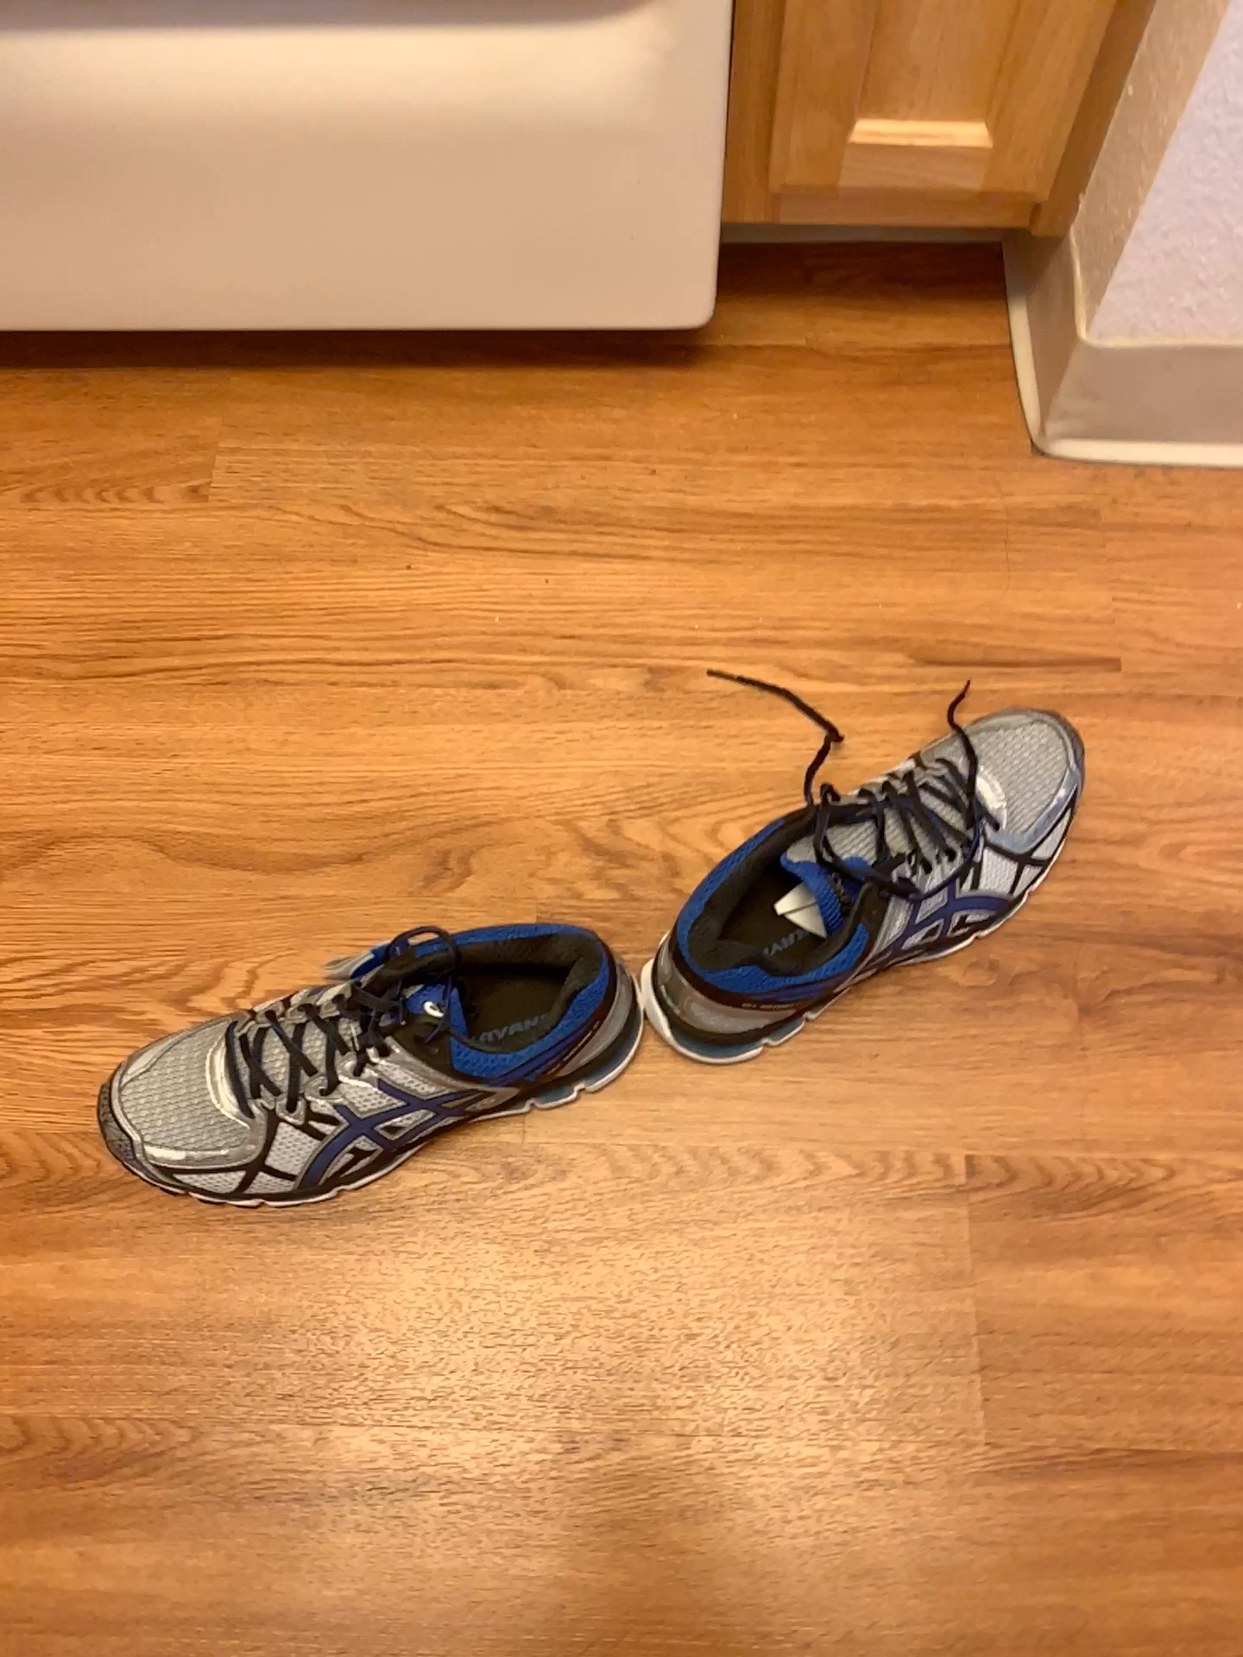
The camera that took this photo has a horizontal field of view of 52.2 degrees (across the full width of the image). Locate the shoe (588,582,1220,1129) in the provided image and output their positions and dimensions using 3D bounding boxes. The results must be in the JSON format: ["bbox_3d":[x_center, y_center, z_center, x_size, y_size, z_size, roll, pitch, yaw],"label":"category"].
[{"bbox_3d":[0.153,0.014,0.719,0.330,0.110,0.120,-33,70,-12],"label":"shoe"}]

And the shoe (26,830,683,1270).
[{"bbox_3d":[-0.130,0.120,0.670,0.300,0.120,0.120,-17,67,-6],"label":"shoe"}]
